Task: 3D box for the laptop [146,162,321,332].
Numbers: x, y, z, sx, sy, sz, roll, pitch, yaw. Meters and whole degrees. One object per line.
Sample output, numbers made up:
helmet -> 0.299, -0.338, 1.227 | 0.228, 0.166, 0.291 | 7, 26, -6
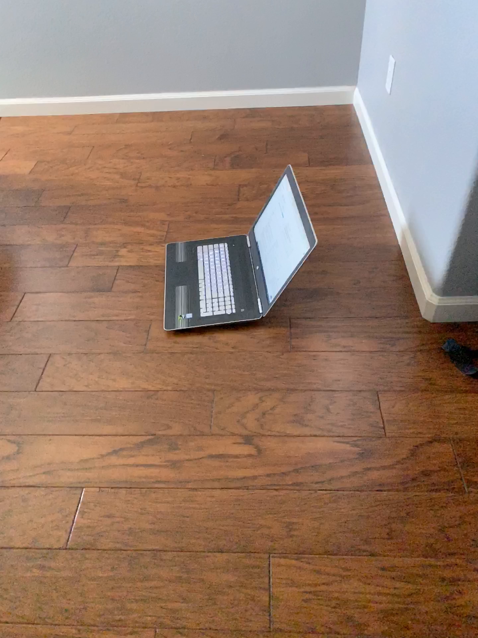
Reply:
laptop -> -0.026, -0.217, 1.394 | 0.421, 0.233, 0.413 | -7, 44, -1
